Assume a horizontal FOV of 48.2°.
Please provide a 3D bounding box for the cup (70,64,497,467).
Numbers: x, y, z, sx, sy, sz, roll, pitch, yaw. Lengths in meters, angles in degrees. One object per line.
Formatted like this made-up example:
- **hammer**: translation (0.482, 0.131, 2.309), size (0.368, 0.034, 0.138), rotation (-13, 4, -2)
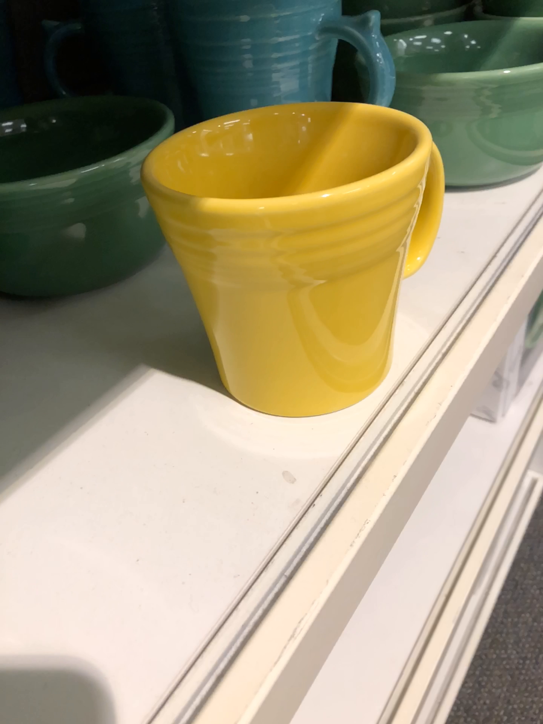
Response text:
- **cup**: translation (0.013, -0.053, 0.260), size (0.097, 0.100, 0.138), rotation (25, 48, 32)
